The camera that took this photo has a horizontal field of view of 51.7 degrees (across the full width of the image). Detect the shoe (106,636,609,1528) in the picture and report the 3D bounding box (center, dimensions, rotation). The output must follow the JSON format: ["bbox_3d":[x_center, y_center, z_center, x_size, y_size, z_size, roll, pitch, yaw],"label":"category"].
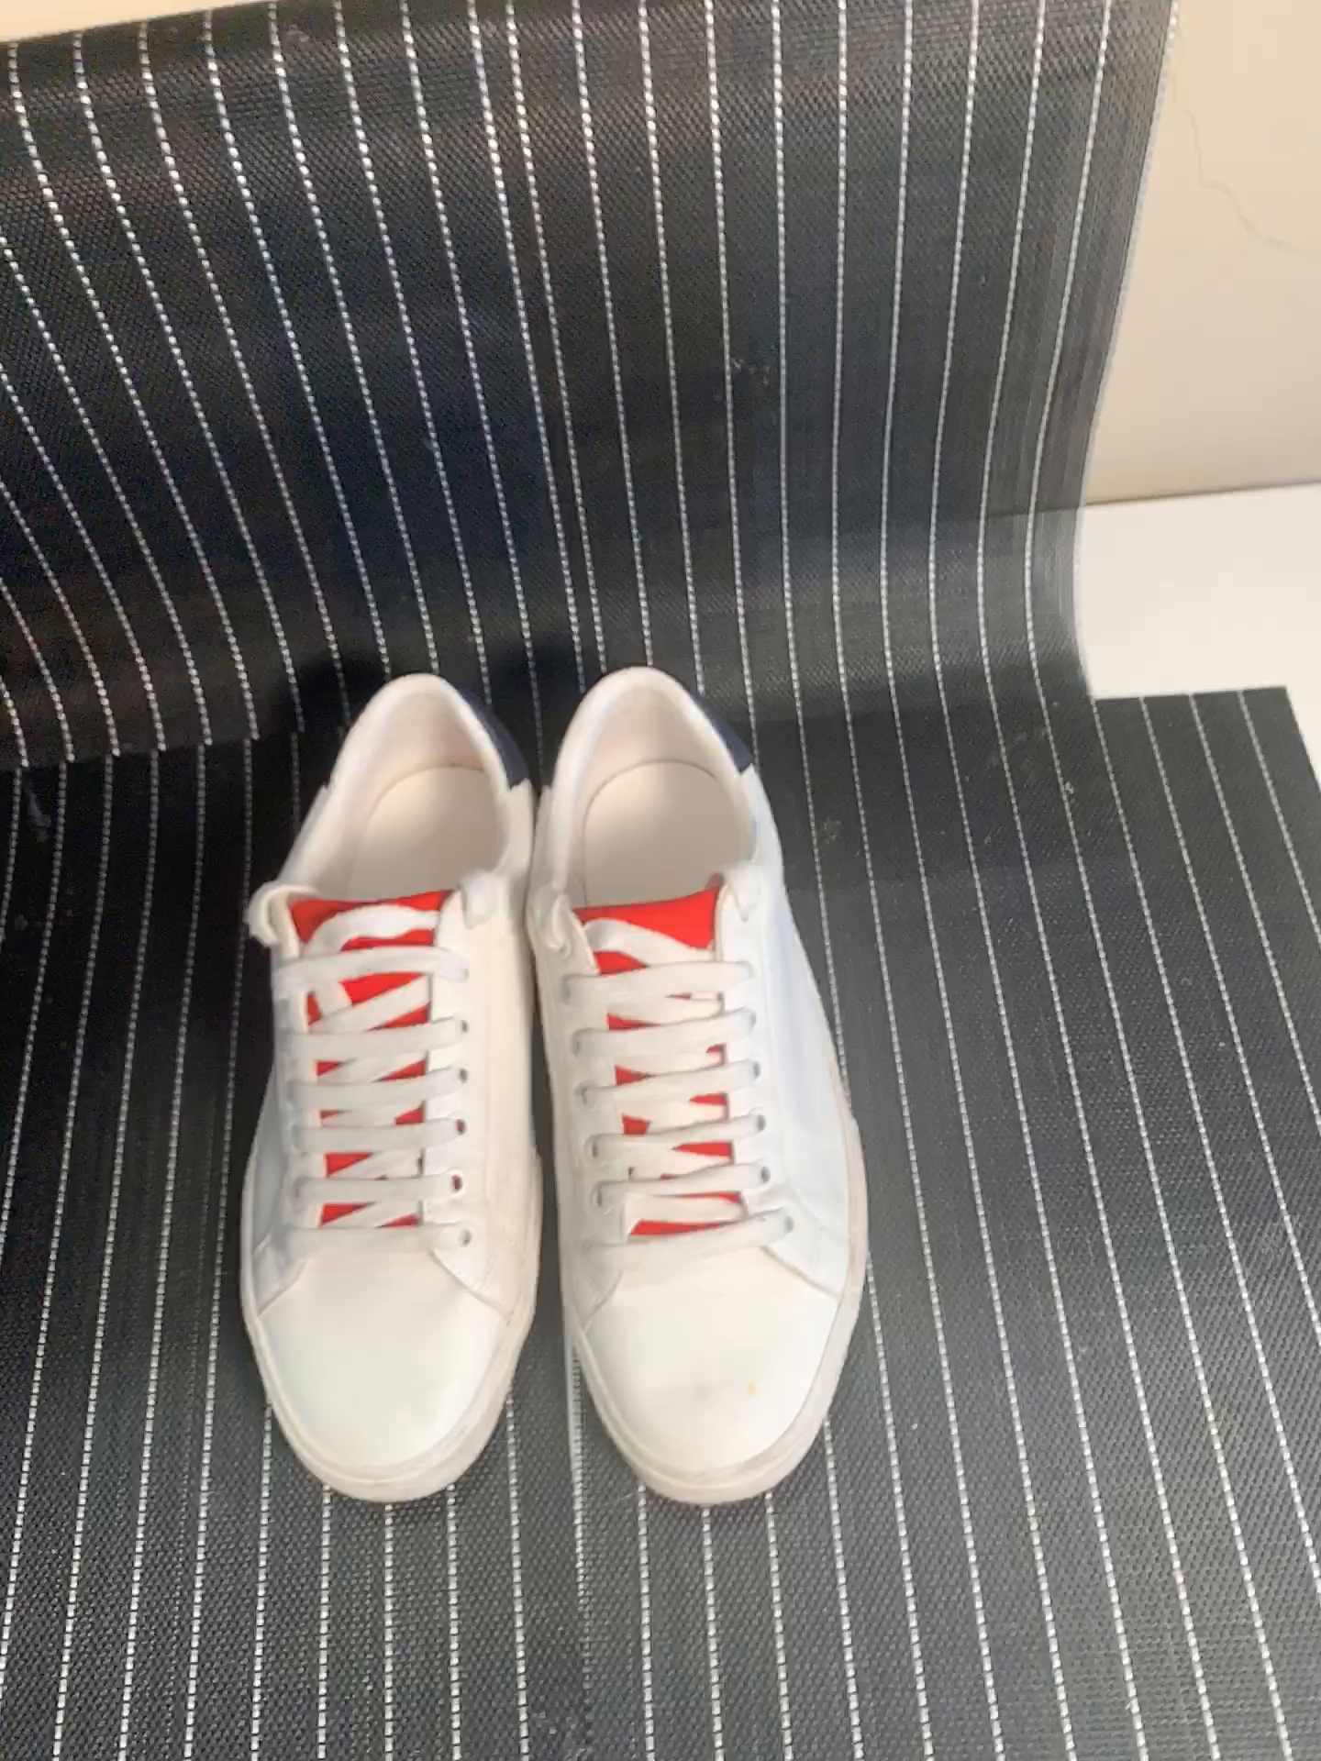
[{"bbox_3d":[-0.085,0.060,0.471,0.120,0.090,0.290,-2,60,3],"label":"shoe"}]

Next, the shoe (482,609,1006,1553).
[{"bbox_3d":[0.015,0.056,0.461,0.120,0.090,0.290,-8,59,0],"label":"shoe"}]
